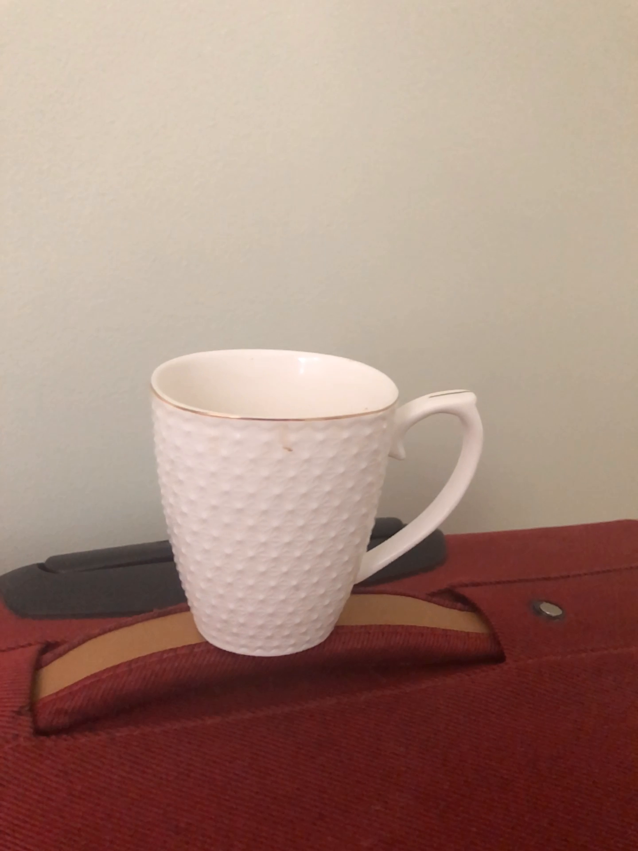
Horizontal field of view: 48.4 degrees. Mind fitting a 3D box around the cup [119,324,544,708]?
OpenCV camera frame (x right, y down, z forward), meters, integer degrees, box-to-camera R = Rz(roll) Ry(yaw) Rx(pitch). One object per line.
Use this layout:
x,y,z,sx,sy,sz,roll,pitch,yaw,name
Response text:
-0.001,0.020,0.236,0.112,0.084,0.075,-7,24,-23,cup
